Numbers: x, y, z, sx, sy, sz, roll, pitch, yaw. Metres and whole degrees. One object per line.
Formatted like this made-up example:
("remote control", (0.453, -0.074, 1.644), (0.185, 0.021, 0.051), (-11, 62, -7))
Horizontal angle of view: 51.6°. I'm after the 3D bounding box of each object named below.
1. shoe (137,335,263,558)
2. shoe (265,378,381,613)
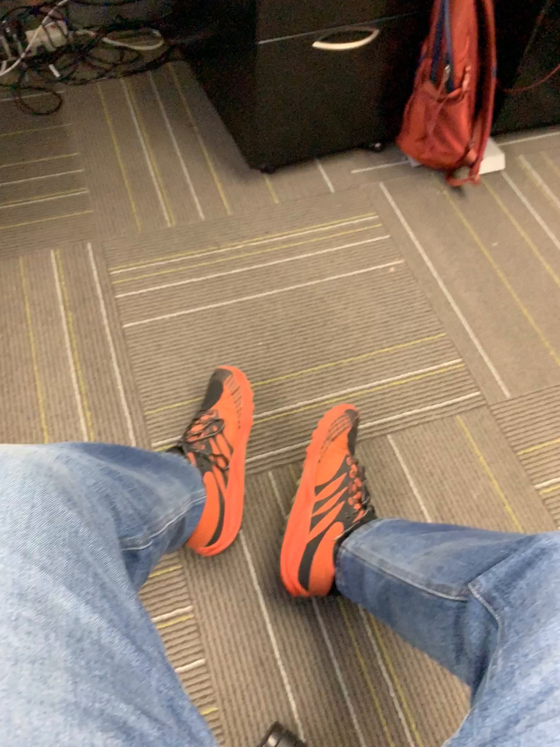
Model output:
("shoe", (-0.118, 0.113, 0.909), (0.108, 0.128, 0.308), (29, 50, -36))
("shoe", (0.078, 0.179, 0.892), (0.108, 0.138, 0.318), (2, 57, 17))
